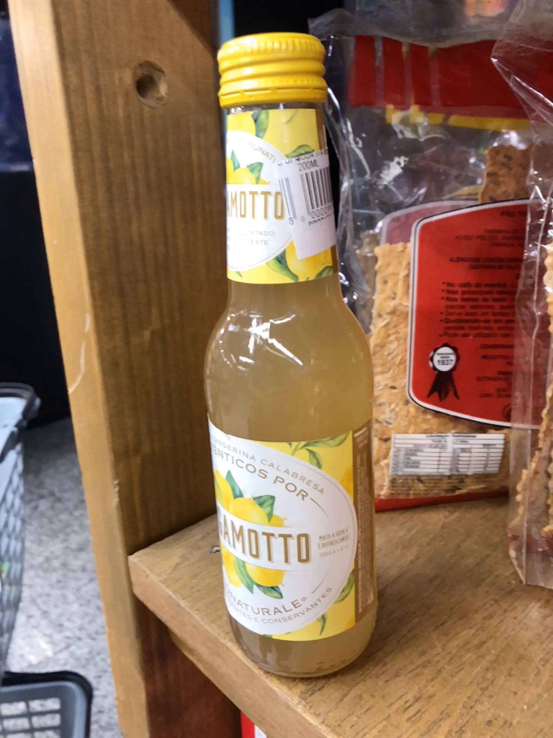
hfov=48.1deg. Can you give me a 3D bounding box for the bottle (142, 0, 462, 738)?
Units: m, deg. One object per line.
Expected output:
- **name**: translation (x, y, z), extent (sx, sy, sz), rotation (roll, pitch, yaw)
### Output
- **bottle**: translation (0.010, 0.003, 0.196), extent (0.060, 0.199, 0.060), rotation (-2, 19, 1)
